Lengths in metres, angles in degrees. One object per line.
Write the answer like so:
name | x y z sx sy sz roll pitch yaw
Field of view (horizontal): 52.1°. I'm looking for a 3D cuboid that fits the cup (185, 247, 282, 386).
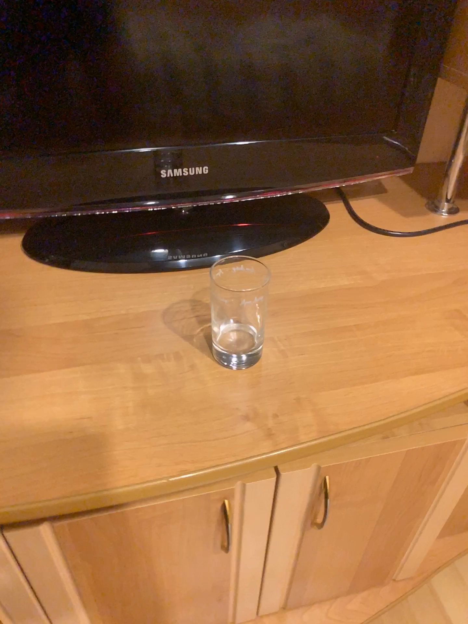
cup | -0.001 0.004 0.449 0.060 0.099 0.060 1 38 0
